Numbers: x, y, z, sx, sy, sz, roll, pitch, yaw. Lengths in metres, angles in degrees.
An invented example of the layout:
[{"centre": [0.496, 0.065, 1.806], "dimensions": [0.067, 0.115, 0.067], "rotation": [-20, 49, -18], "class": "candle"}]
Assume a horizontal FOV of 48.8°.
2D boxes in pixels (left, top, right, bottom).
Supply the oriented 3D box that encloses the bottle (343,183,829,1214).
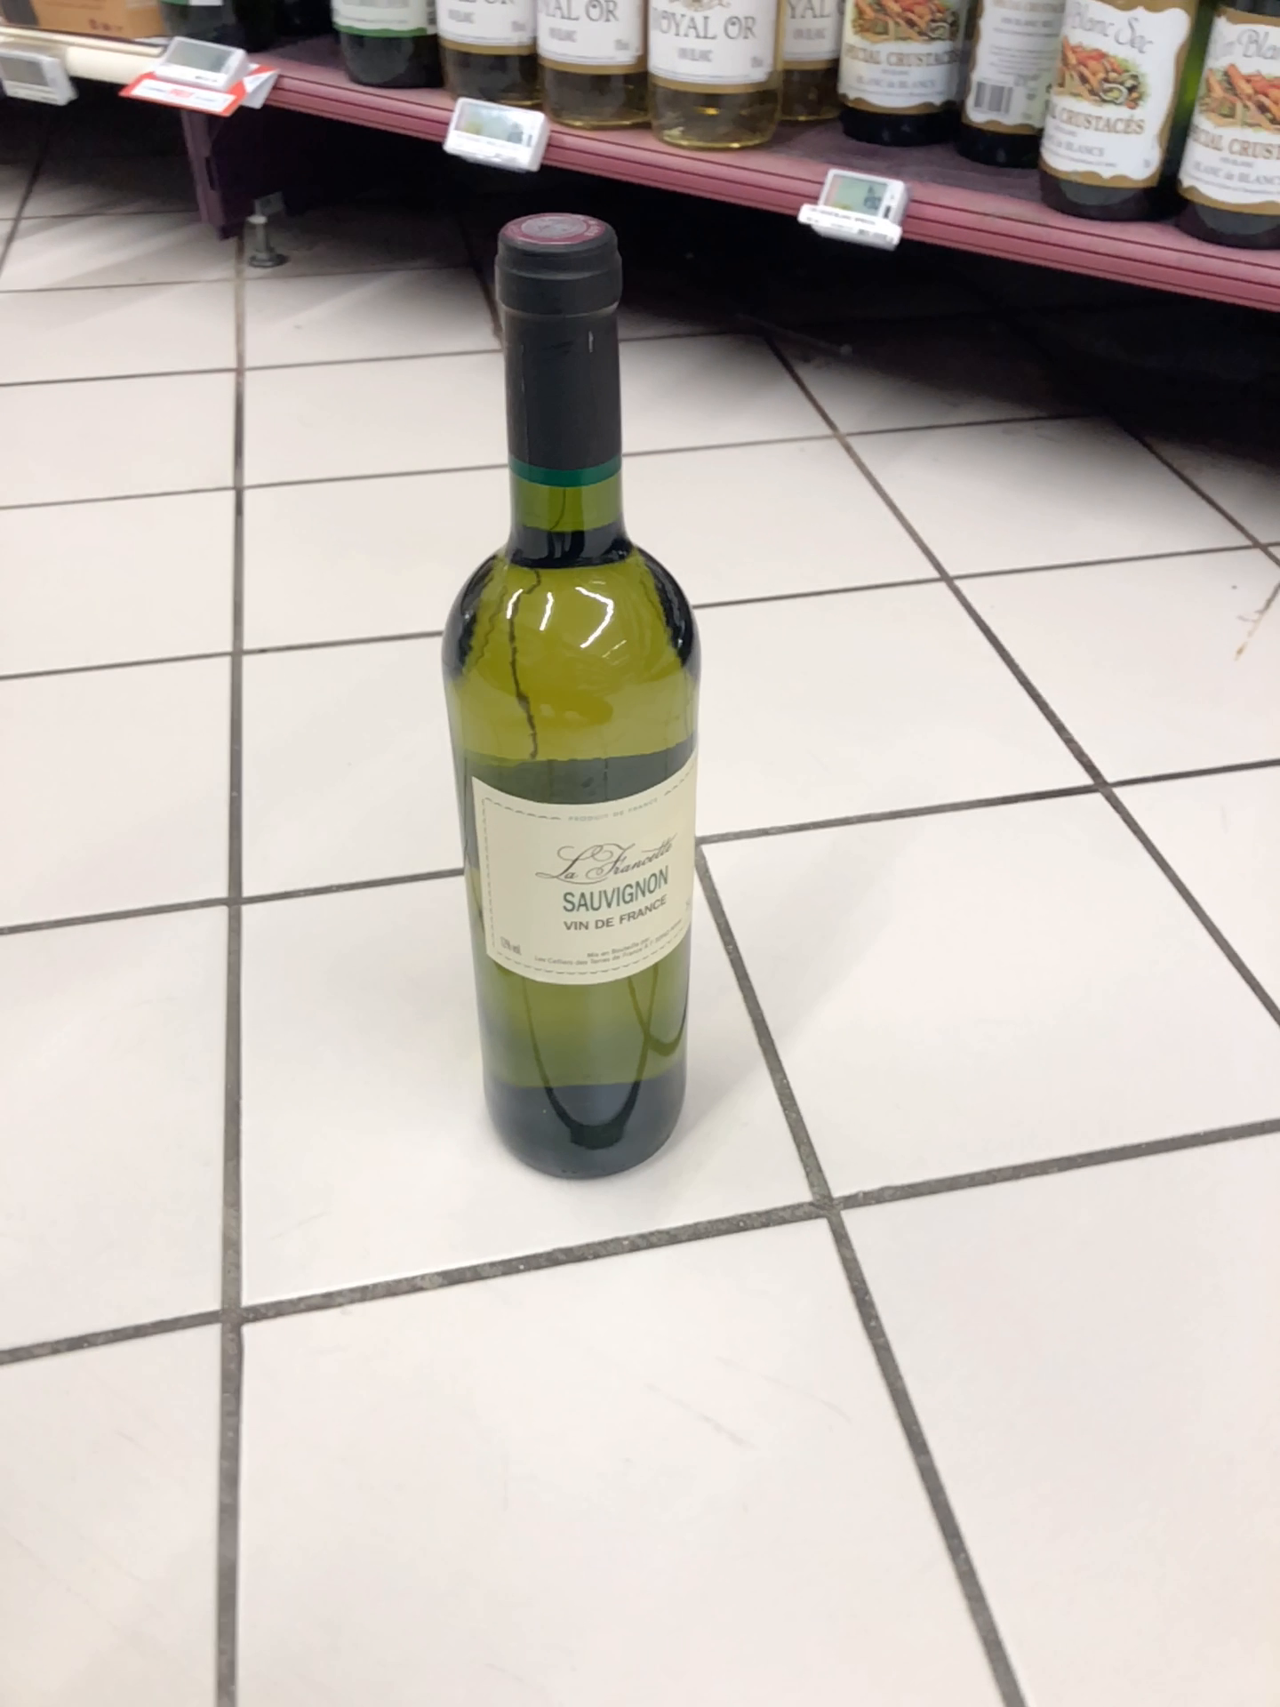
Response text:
[{"centre": [-0.017, -0.028, 0.417], "dimensions": [0.090, 0.288, 0.090], "rotation": [0, 40, 0], "class": "bottle"}]
